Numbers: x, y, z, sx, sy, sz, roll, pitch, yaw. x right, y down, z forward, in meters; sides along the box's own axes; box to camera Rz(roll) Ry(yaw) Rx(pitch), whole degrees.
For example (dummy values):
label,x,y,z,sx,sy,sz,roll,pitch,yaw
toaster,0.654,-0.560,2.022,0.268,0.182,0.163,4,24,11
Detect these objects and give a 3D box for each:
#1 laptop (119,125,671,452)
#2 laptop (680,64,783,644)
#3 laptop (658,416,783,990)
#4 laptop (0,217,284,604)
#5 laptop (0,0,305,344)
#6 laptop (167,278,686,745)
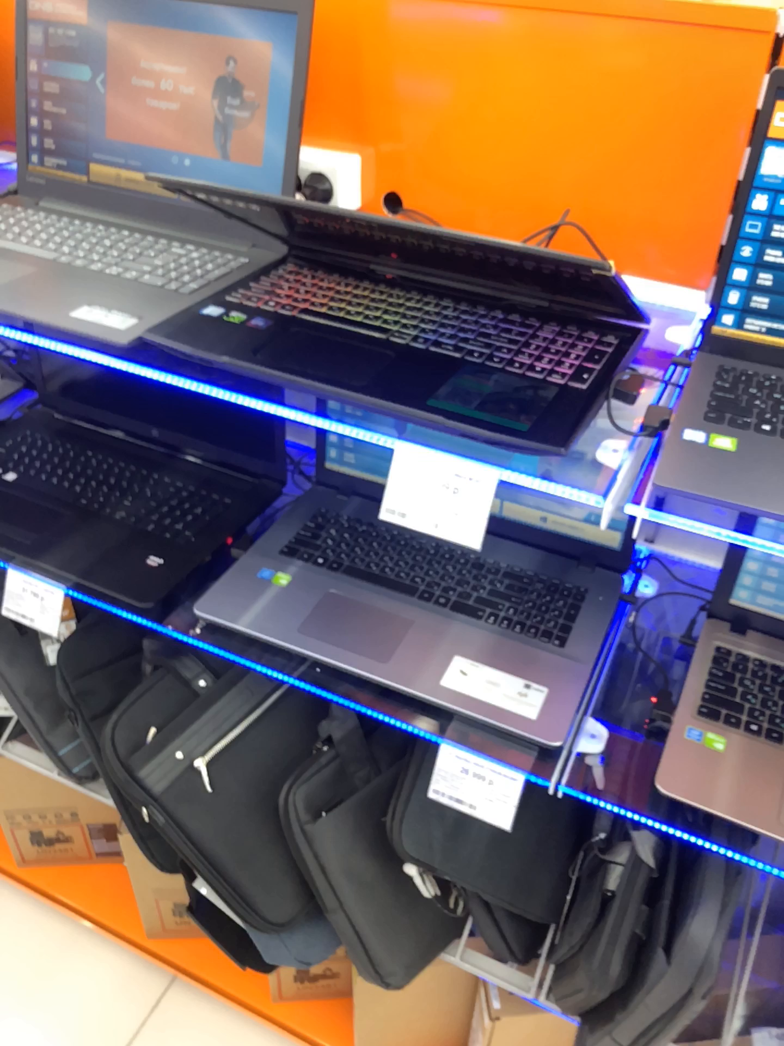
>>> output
label,x,y,z,sx,sy,sz,roll,pitch,yaw
laptop,0.010,-0.216,0.721,0.364,0.121,0.244,18,39,19
laptop,0.388,-0.136,0.551,0.352,0.216,0.231,15,38,17
laptop,0.439,0.116,0.688,0.359,0.240,0.230,17,39,21
laptop,-0.379,-0.151,1.010,0.406,0.270,0.274,18,38,20
laptop,-0.314,-0.383,0.837,0.359,0.228,0.319,18,38,18
laptop,0.038,-0.037,0.881,0.394,0.256,0.288,17,39,20
